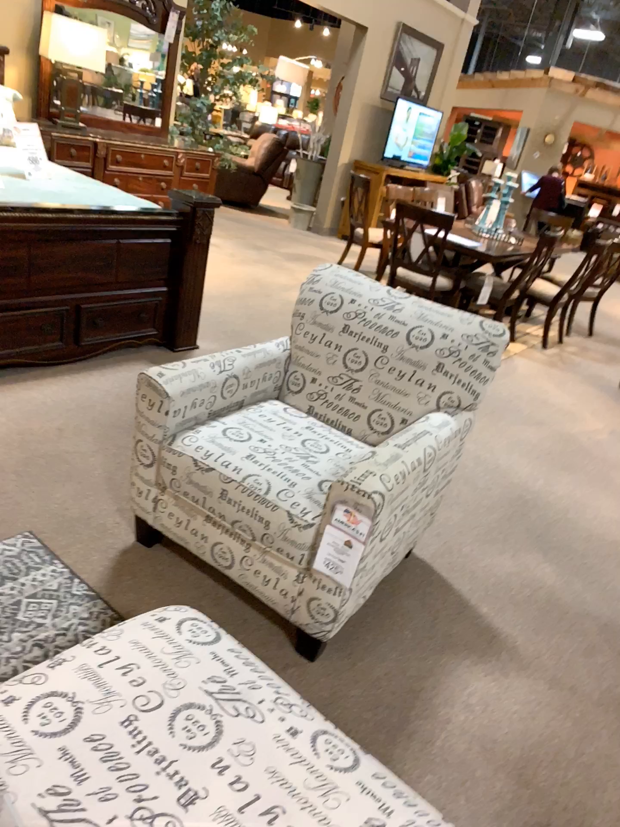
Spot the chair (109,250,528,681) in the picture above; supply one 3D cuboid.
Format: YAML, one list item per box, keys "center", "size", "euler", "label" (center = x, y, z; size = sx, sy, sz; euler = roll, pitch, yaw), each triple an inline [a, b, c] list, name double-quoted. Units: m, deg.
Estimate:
- center: [0.031, 0.045, 2.059]
  size: [0.835, 0.870, 0.919]
  euler: [26, 28, 25]
  label: "chair"
